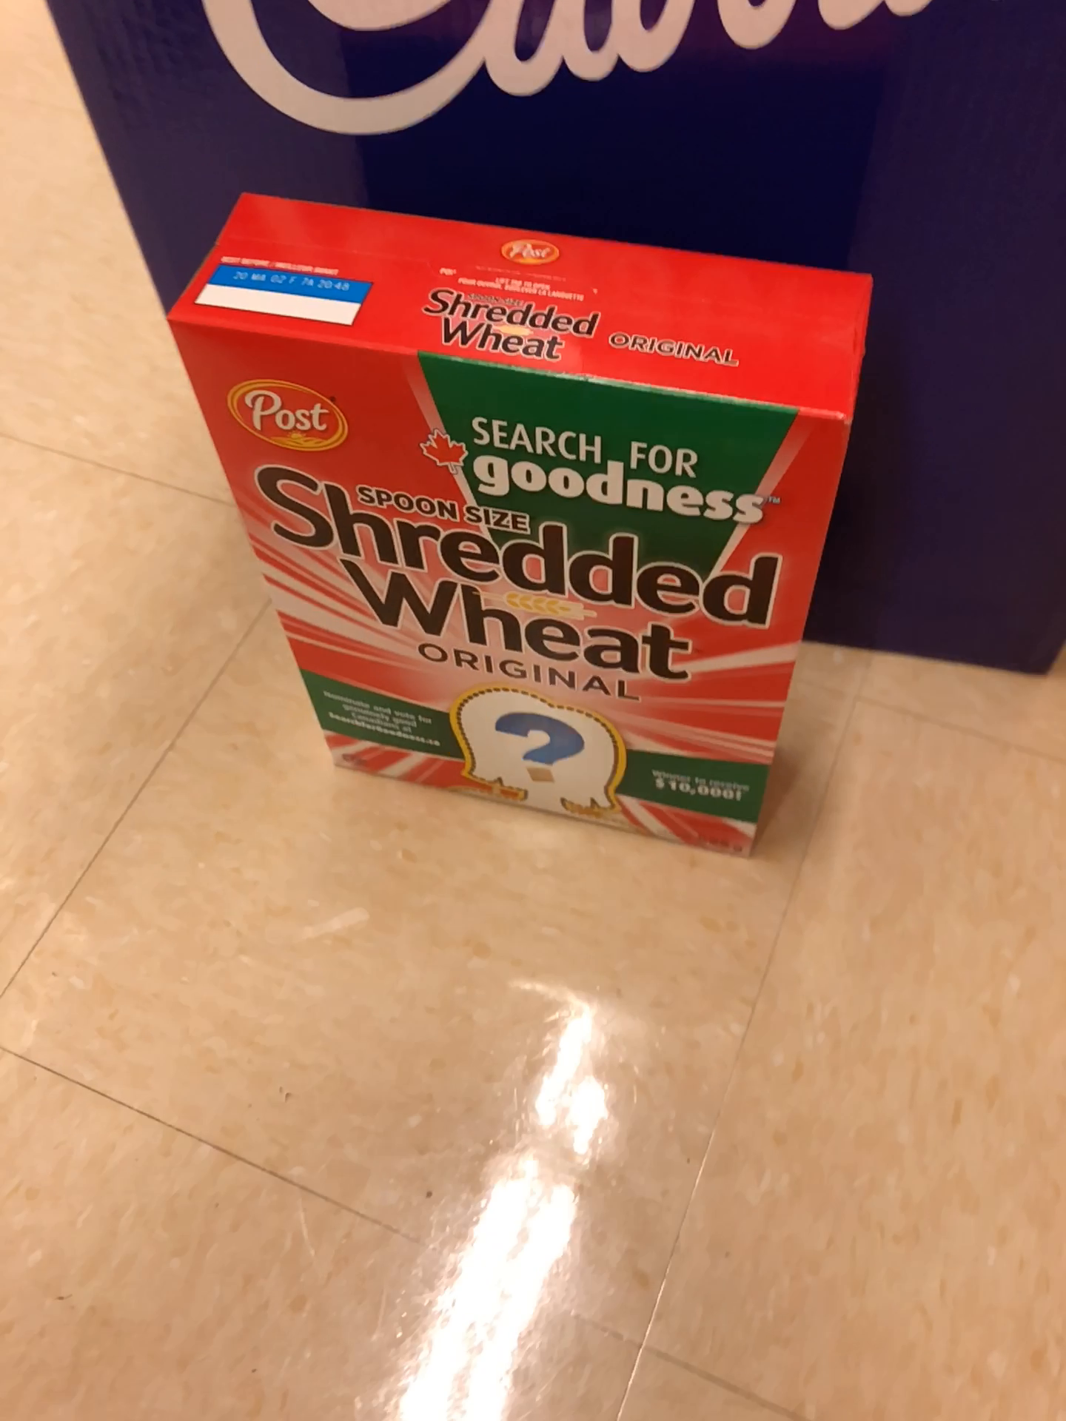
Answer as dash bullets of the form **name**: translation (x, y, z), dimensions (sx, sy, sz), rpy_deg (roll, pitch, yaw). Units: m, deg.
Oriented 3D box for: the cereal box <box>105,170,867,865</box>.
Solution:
- **cereal box**: translation (-0.007, -0.052, 0.452), dimensions (0.210, 0.268, 0.070), rpy_deg (11, 58, 11)
